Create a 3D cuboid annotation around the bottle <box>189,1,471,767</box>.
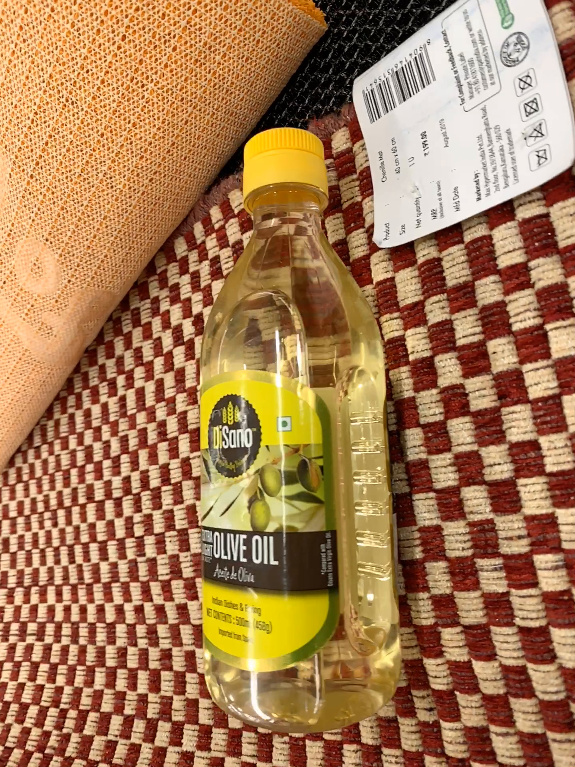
[{"bbox_3d":[0.012,0.000,0.218,0.070,0.060,0.230,-8,81,42],"label":"bottle"}]
